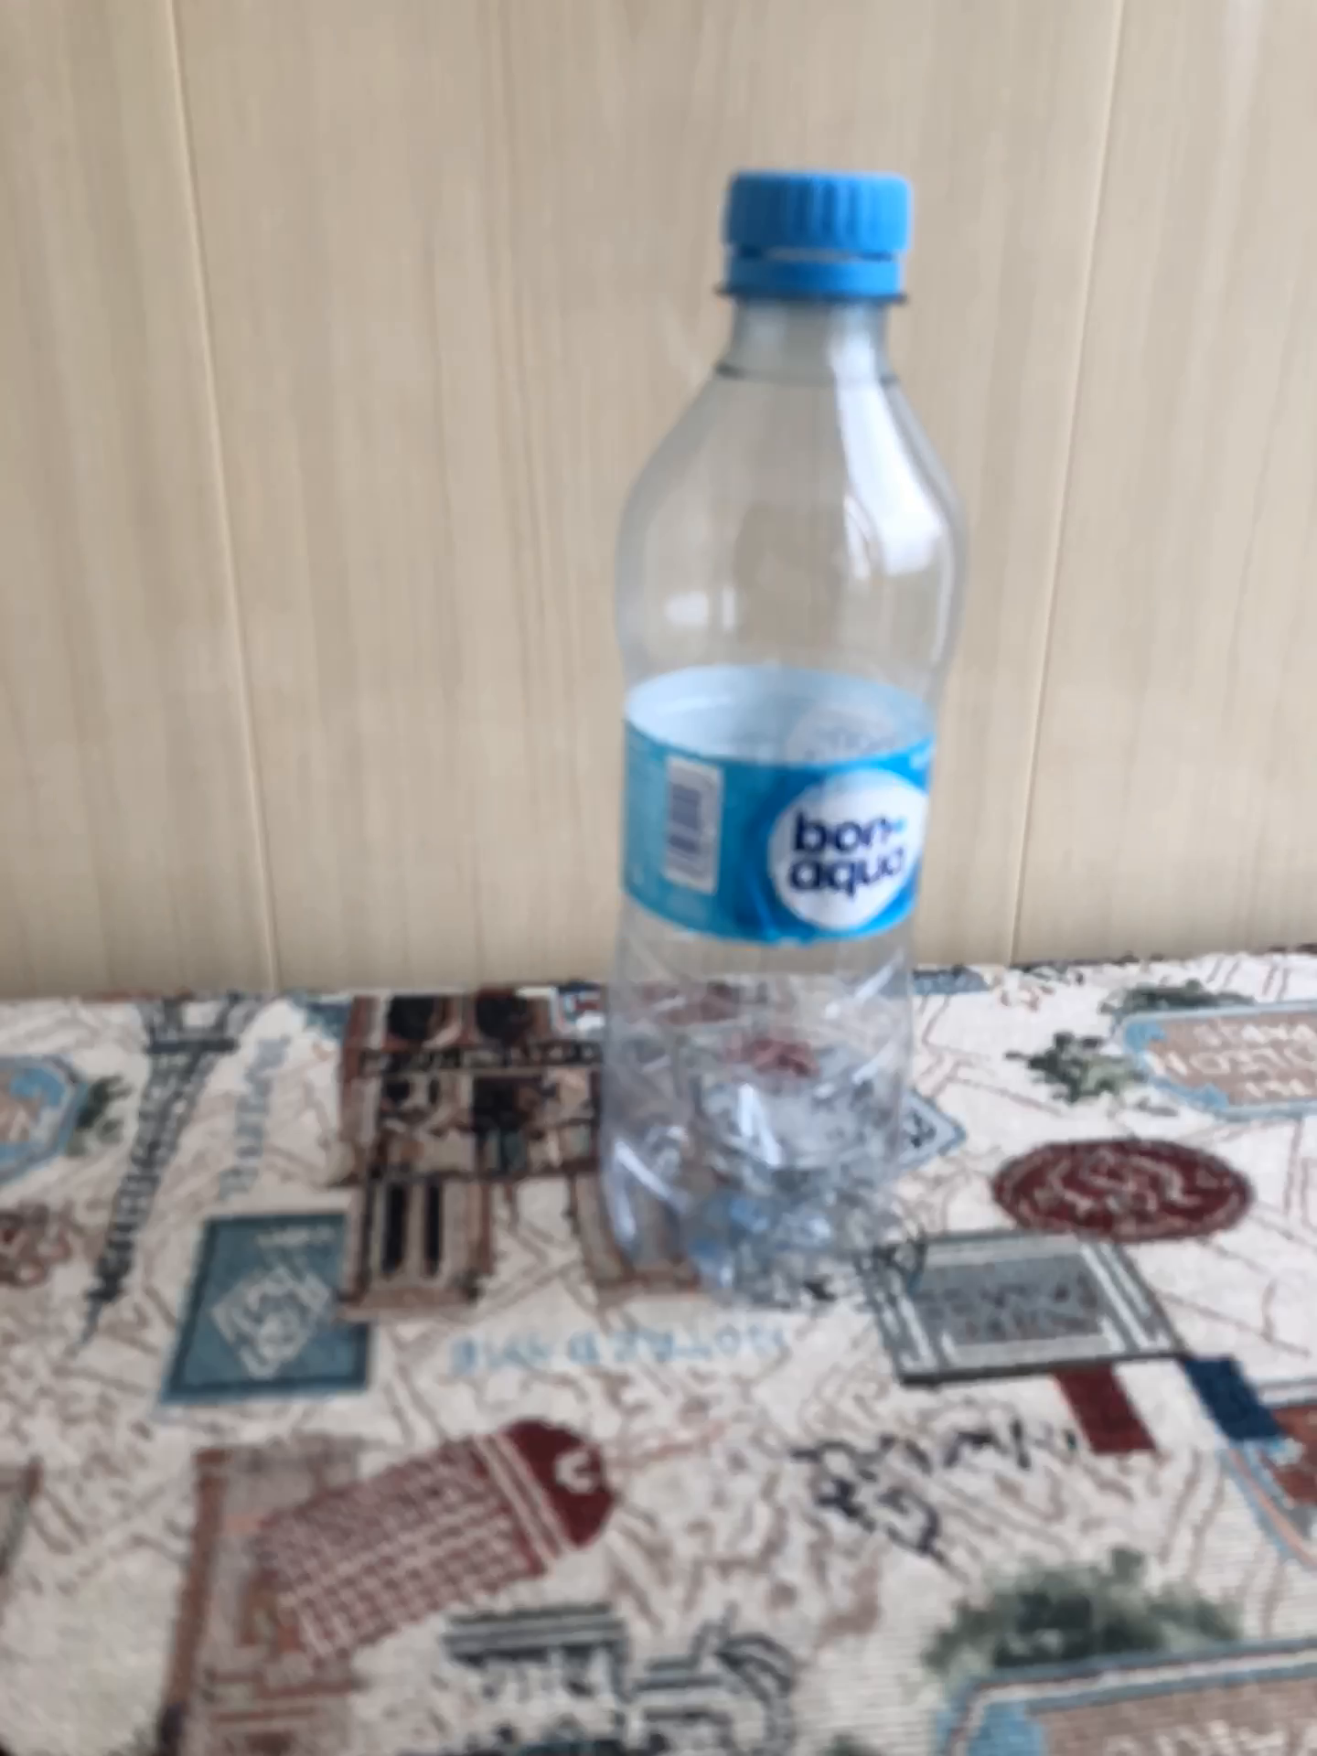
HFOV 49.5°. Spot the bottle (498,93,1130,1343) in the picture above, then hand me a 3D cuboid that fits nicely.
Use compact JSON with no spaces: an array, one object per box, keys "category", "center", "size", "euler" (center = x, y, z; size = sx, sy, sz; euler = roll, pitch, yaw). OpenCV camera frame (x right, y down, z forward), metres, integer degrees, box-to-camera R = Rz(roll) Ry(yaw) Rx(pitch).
[{"category":"bottle","center":[0.022,-0.027,0.275],"size":[0.080,0.209,0.070],"euler":[-9,24,-20]}]
